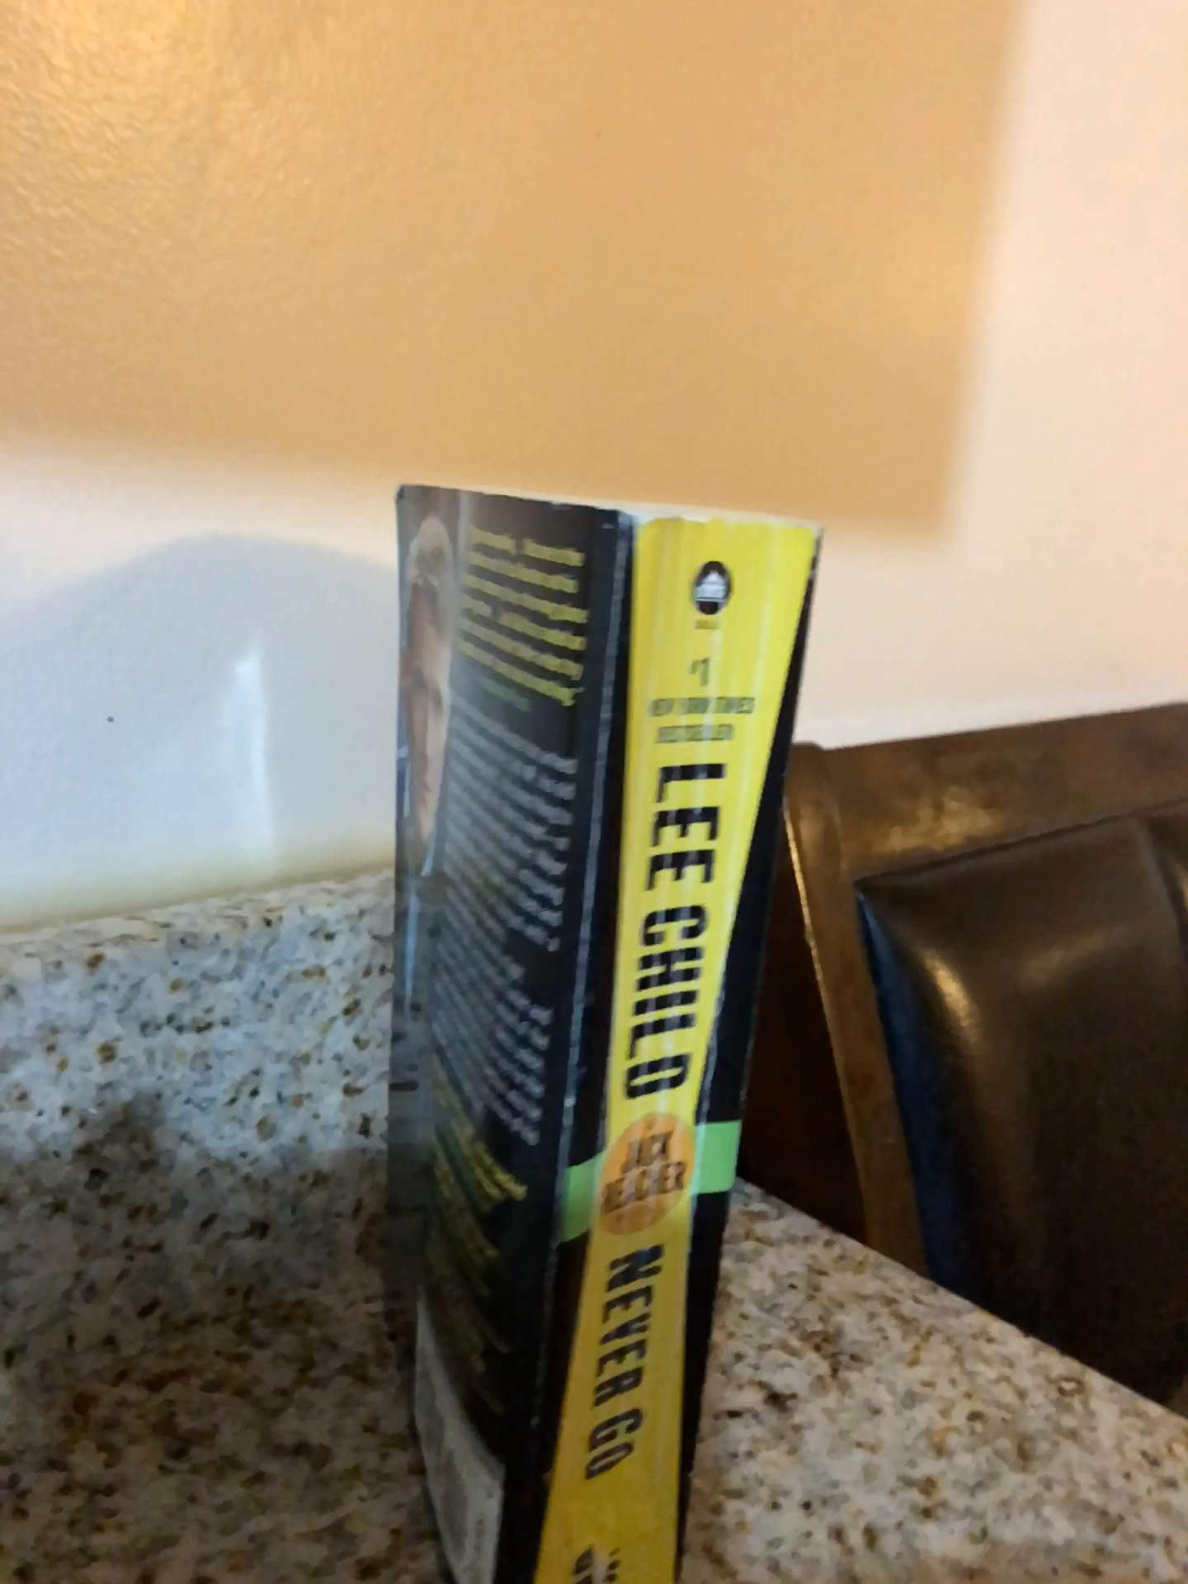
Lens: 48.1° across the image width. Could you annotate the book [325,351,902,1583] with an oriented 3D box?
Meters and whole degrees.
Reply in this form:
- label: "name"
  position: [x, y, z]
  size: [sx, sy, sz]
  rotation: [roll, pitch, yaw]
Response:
- label: "book"
  position: [-0.015, 0.034, 0.274]
  size: [0.050, 0.219, 0.160]
  rotation: [3, 12, -17]
